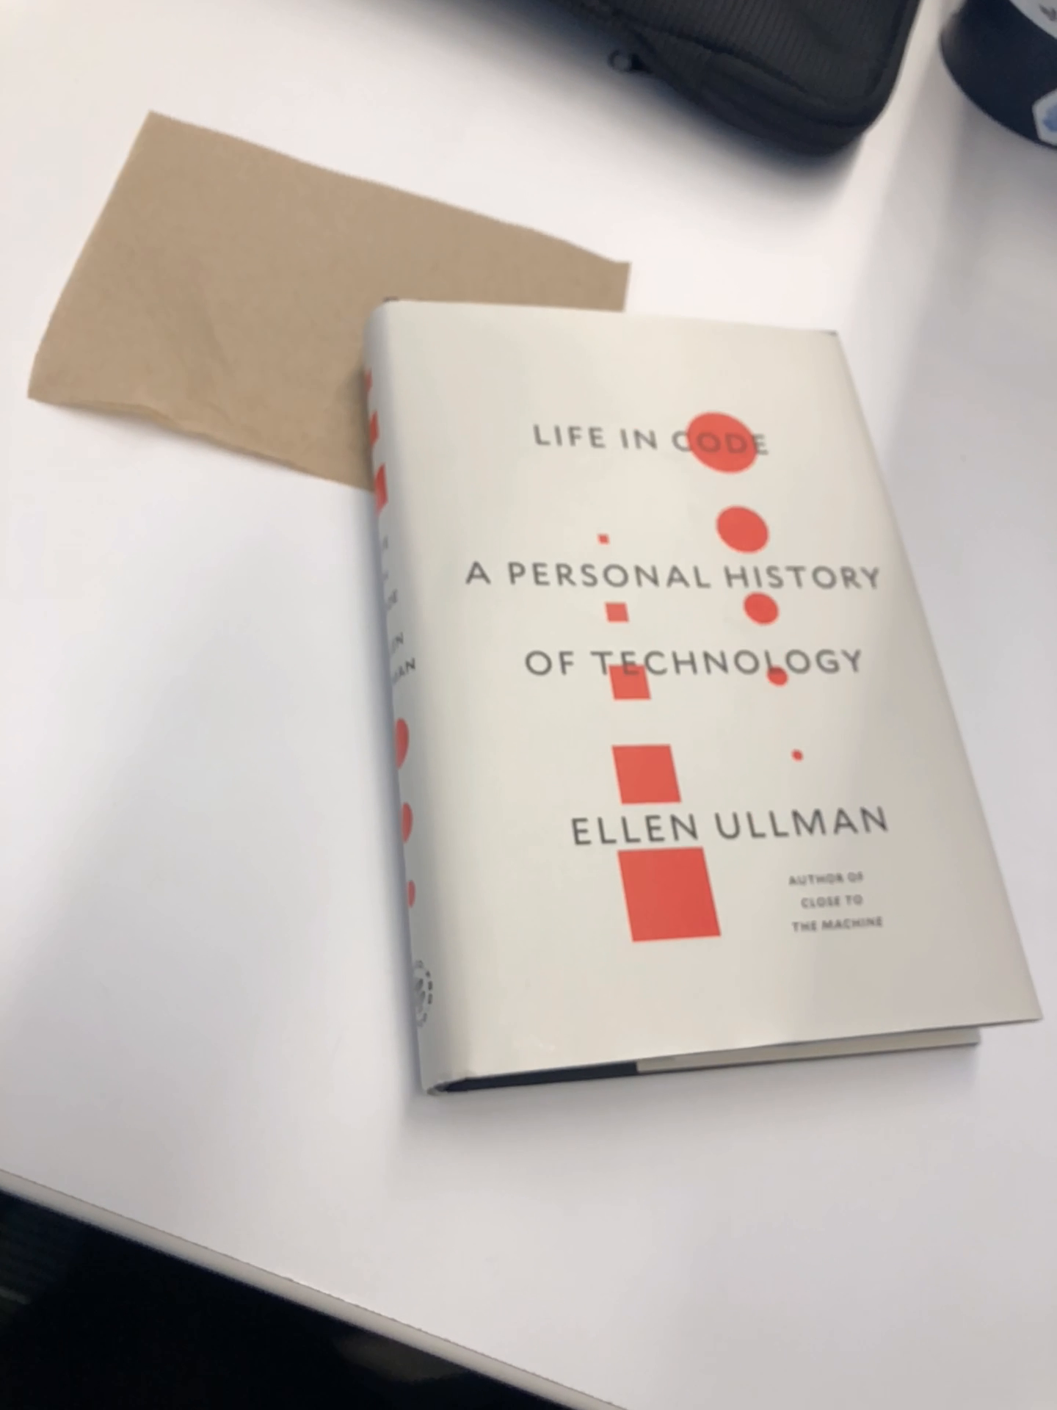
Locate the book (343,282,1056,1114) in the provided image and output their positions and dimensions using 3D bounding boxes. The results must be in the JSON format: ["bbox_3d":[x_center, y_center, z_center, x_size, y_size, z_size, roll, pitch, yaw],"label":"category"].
[{"bbox_3d":[0.037,-0.014,0.321,0.160,0.030,0.220,0,63,-15],"label":"book"}]
